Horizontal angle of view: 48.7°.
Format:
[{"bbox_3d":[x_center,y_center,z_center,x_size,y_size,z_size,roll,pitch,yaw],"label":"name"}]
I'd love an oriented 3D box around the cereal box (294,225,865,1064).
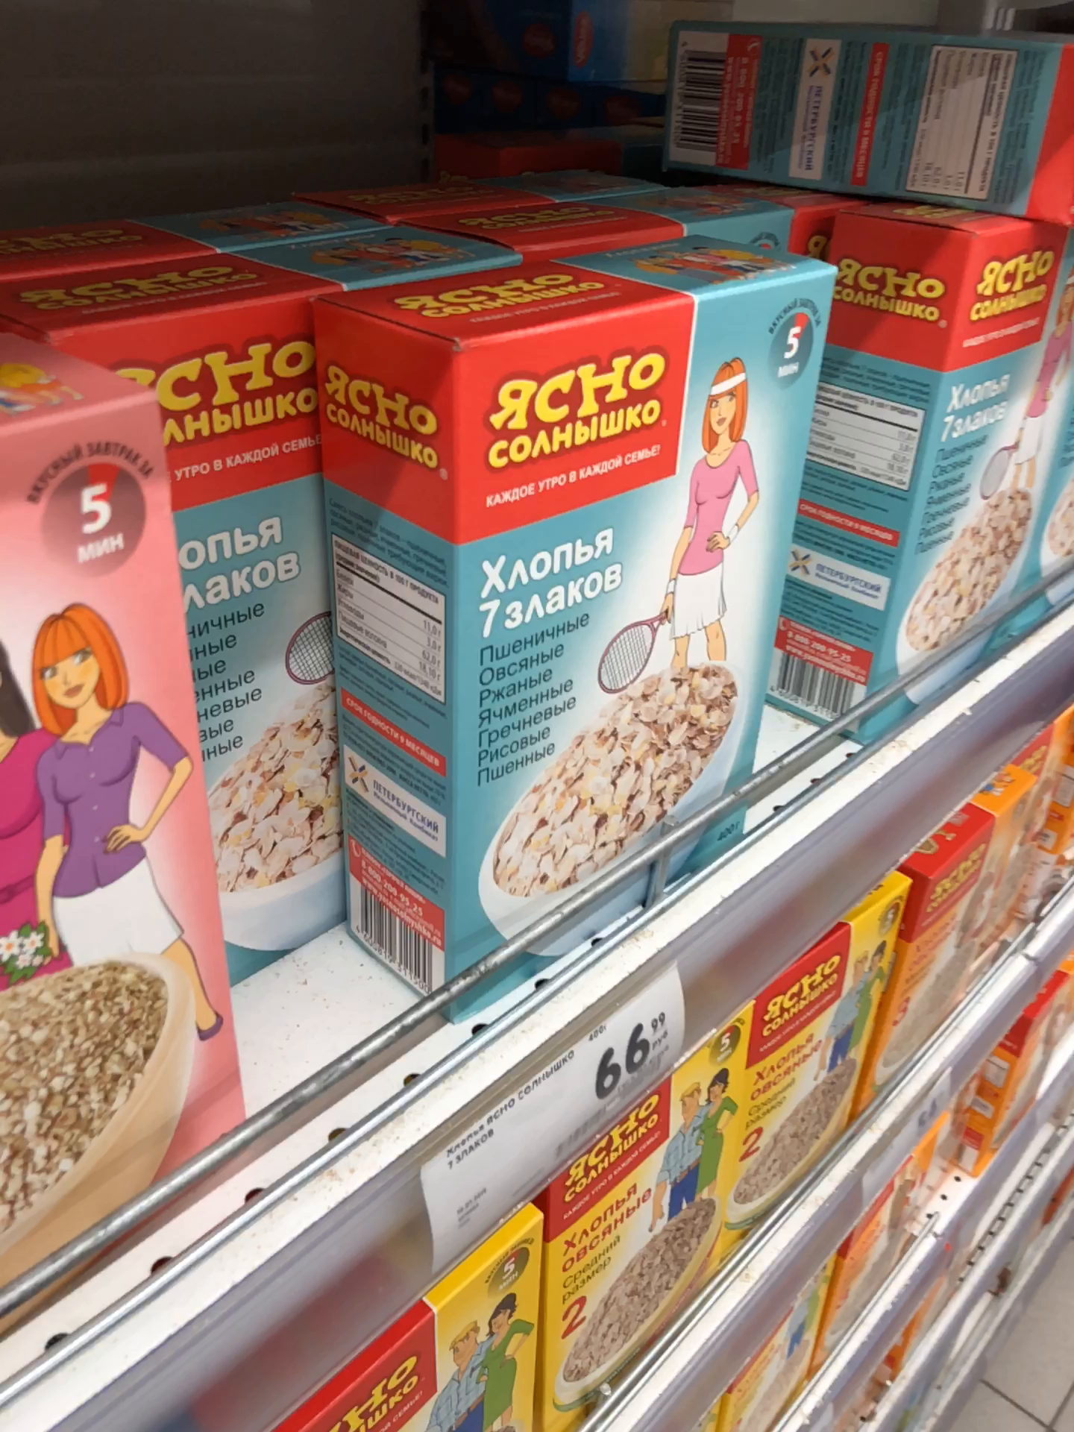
[{"bbox_3d":[0.013,-0.023,0.324,0.050,0.189,0.141,29,40,36],"label":"cereal box"}]
